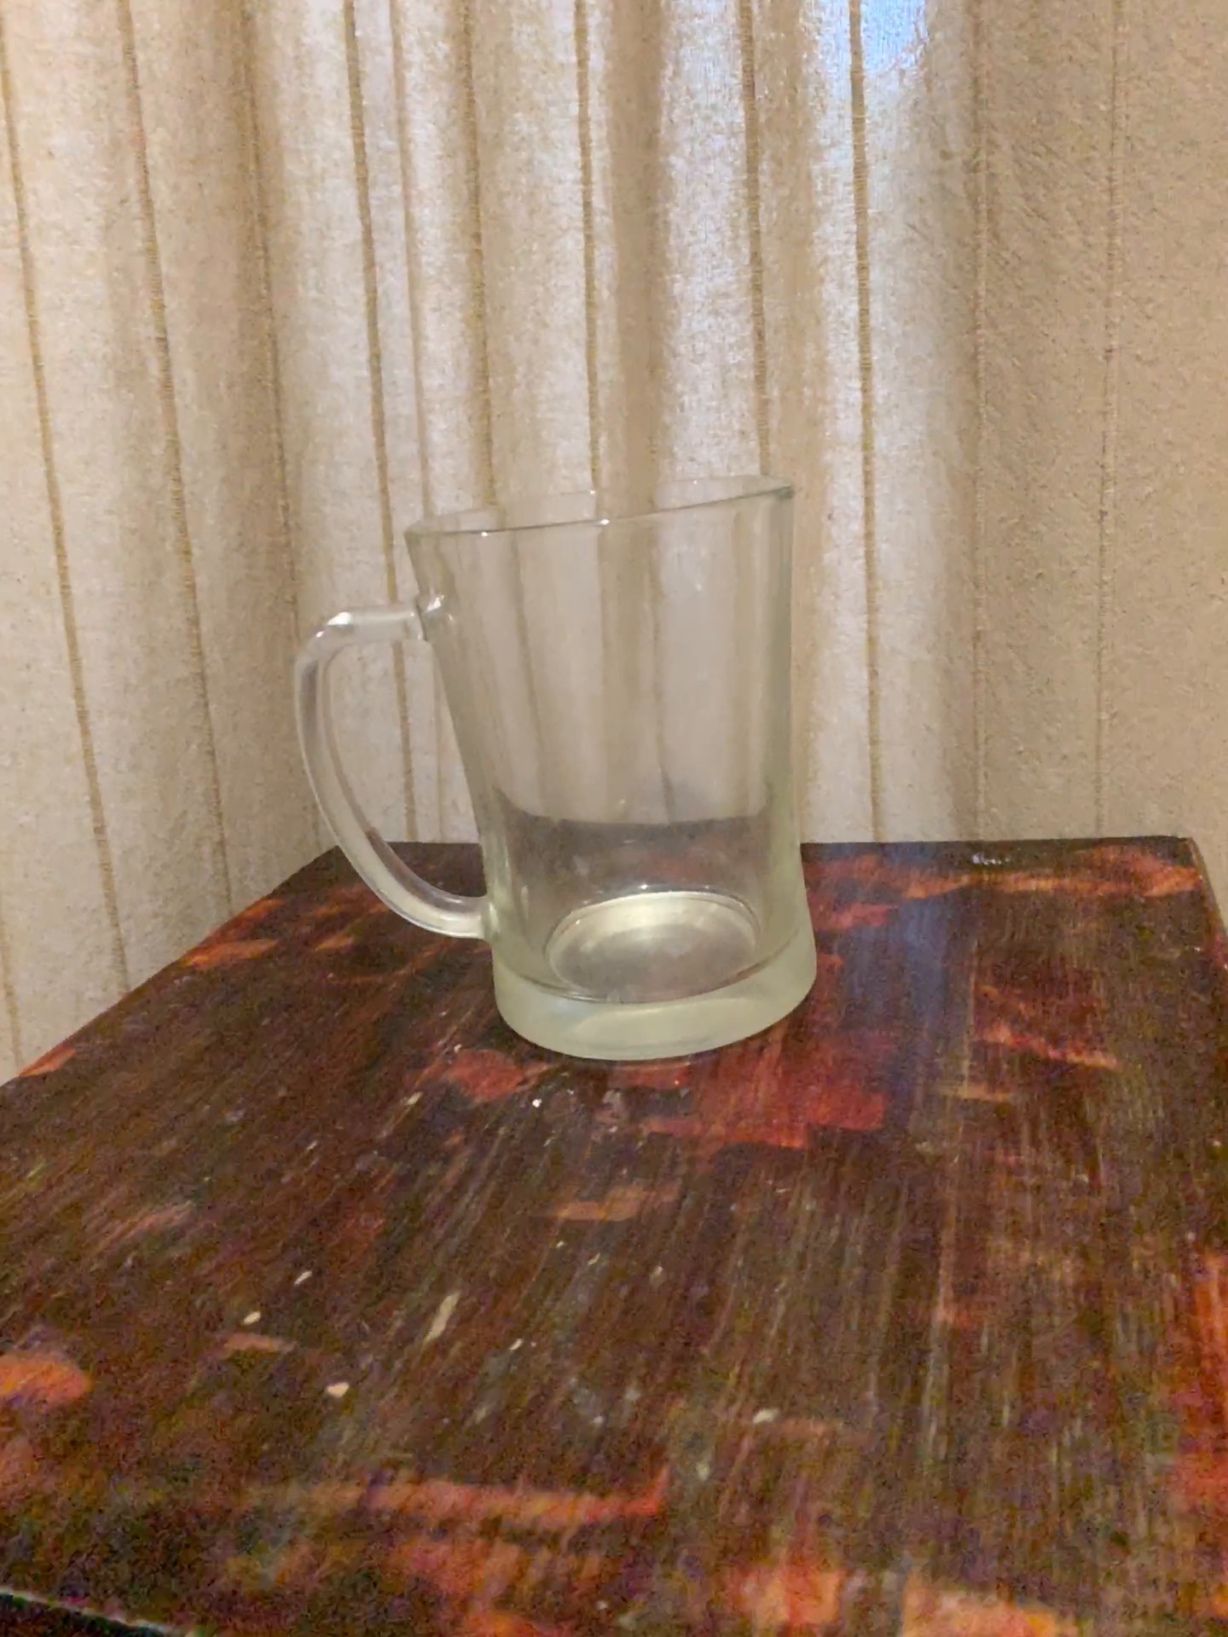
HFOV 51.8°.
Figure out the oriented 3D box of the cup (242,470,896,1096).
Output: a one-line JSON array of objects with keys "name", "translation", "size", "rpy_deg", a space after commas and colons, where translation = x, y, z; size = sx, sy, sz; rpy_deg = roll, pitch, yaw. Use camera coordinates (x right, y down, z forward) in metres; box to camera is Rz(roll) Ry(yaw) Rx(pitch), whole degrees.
[{"name": "cup", "translation": [-0.007, -0.017, 0.346], "size": [0.142, 0.135, 0.101], "rpy_deg": [-5, 17, -1]}]
